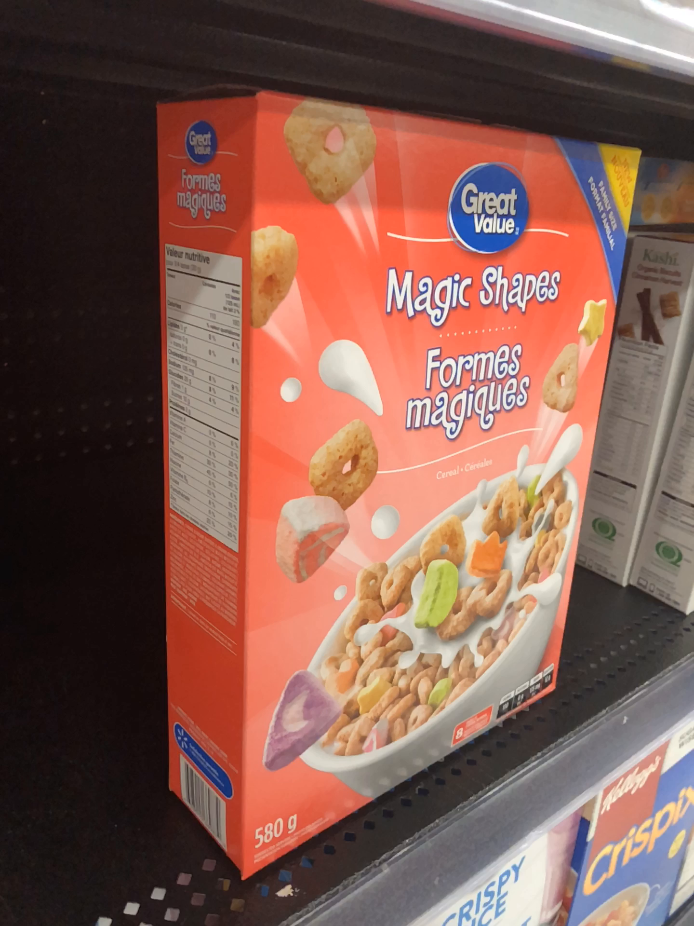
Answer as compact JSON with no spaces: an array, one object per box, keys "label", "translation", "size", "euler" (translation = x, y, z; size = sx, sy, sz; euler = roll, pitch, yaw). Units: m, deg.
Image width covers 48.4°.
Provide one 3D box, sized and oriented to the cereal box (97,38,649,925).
[{"label":"cereal box","translation":[0.021,0.004,0.386],"size":[0.250,0.339,0.080],"euler":[-13,24,-39]}]
